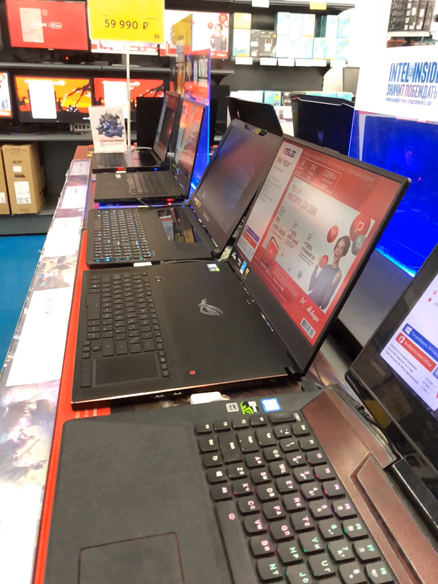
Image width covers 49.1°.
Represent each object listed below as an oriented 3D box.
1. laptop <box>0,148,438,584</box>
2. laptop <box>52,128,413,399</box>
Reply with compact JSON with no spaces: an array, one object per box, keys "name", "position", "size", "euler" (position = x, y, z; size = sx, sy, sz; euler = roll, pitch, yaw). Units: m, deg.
[{"name":"laptop","position":[0.092,0.066,0.288],"size":[0.411,0.248,0.376],"euler":[-5,23,-10]},{"name":"laptop","position":[-0.020,-0.088,0.705],"size":[0.377,0.240,0.392],"euler":[-5,25,-12]}]
